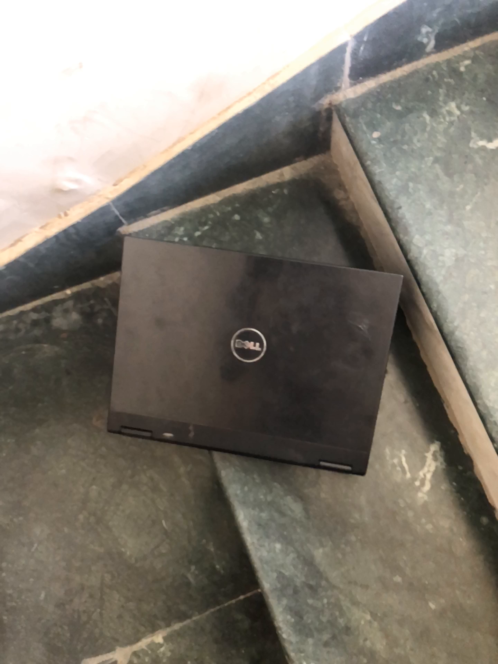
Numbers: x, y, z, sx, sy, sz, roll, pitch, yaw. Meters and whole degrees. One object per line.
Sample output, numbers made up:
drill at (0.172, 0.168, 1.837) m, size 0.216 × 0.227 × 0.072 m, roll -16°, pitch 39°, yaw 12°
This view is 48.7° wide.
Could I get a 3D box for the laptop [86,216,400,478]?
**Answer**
laptop at (-0.001, 0.017, 0.625) m, size 0.302 × 0.095 × 0.232 m, roll 9°, pitch 80°, yaw 3°
